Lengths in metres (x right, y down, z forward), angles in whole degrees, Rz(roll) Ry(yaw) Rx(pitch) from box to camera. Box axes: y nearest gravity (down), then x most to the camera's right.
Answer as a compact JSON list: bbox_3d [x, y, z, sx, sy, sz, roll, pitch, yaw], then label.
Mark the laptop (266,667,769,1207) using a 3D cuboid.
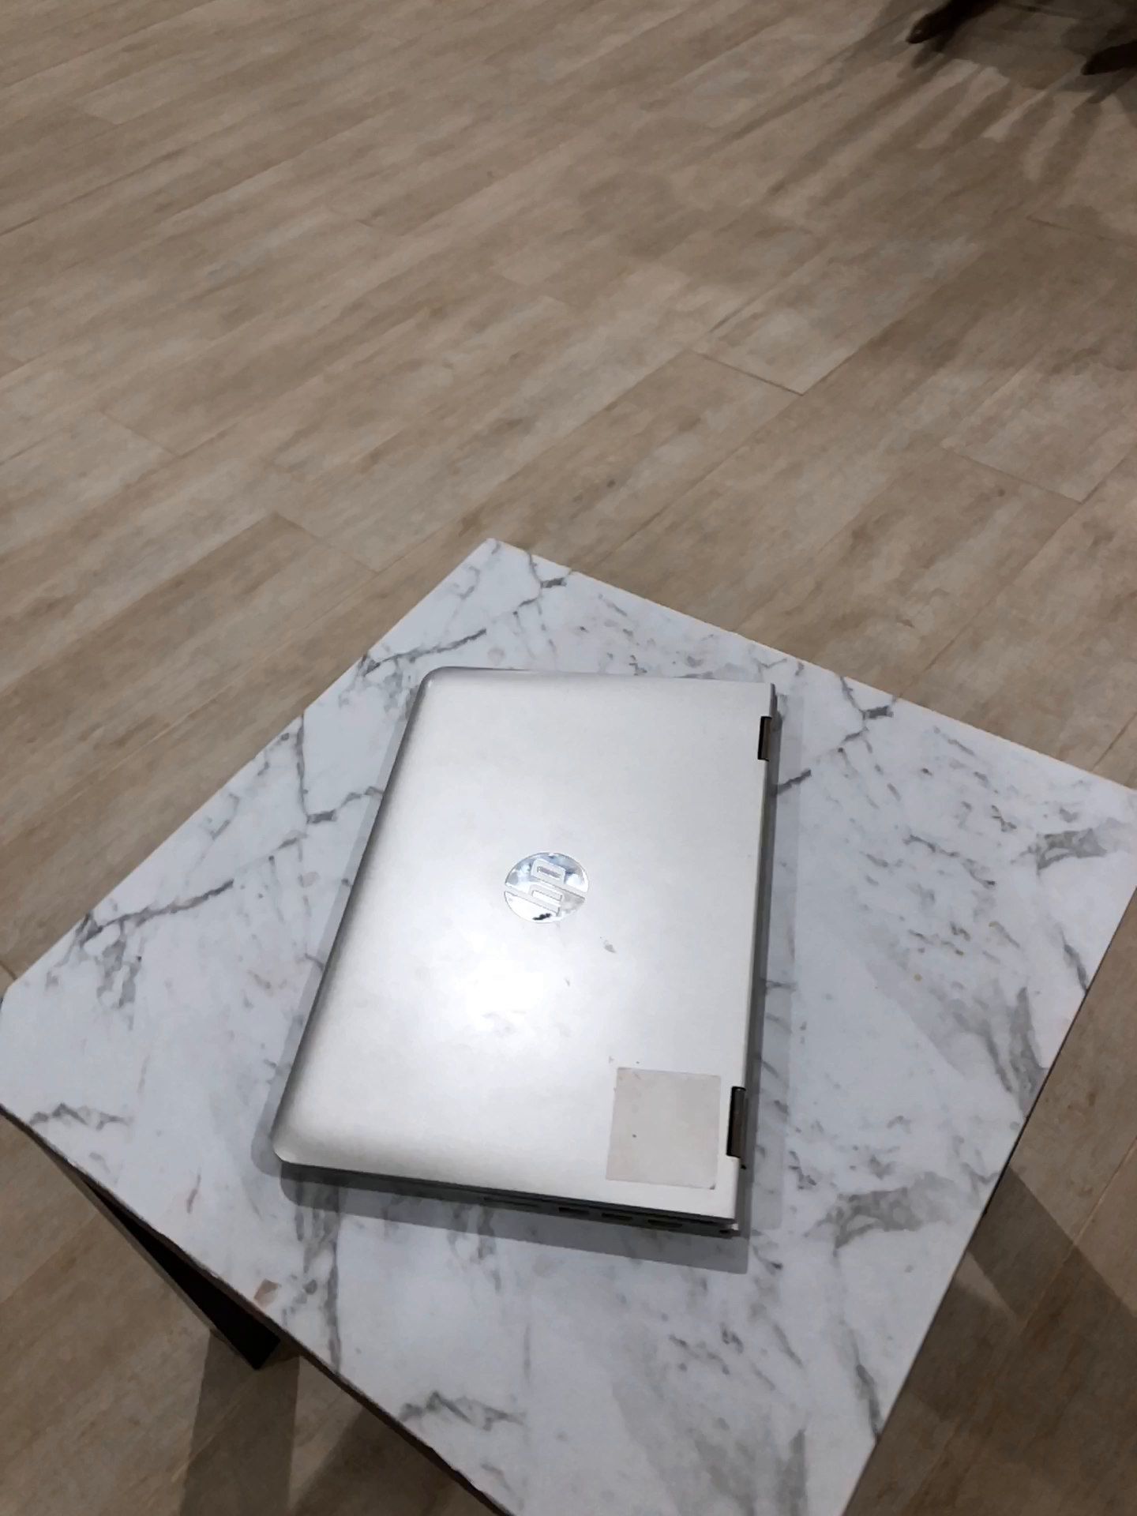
[{"bbox_3d":[-0.009,0.063,0.607,0.197,0.001,0.293,4,49,9],"label":"laptop"}]
